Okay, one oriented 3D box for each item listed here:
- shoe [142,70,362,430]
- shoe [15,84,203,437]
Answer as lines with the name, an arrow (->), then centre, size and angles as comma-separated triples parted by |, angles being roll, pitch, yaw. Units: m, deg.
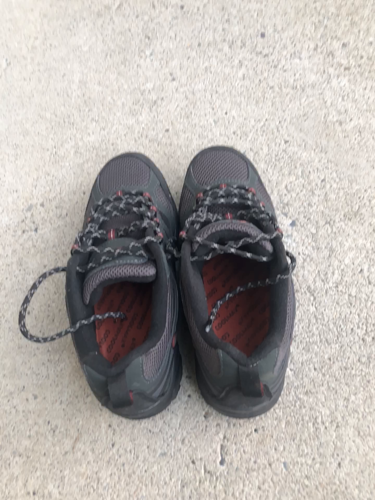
shoe -> 0.038, -0.007, 0.379 | 0.120, 0.110, 0.301 | -8, 63, 2
shoe -> -0.069, 0.002, 0.391 | 0.120, 0.110, 0.303 | -8, 63, 2
